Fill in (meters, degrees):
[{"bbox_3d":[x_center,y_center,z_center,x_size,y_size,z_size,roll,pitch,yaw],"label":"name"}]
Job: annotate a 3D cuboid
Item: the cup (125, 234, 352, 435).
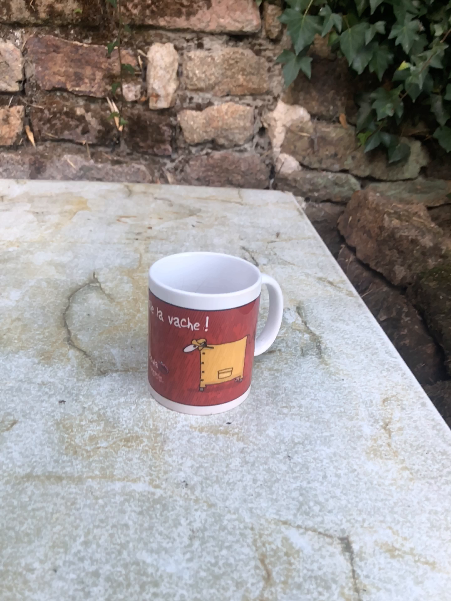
[{"bbox_3d":[0.008,0.015,0.357,0.130,0.083,0.086,-16,33,-34],"label":"cup"}]
